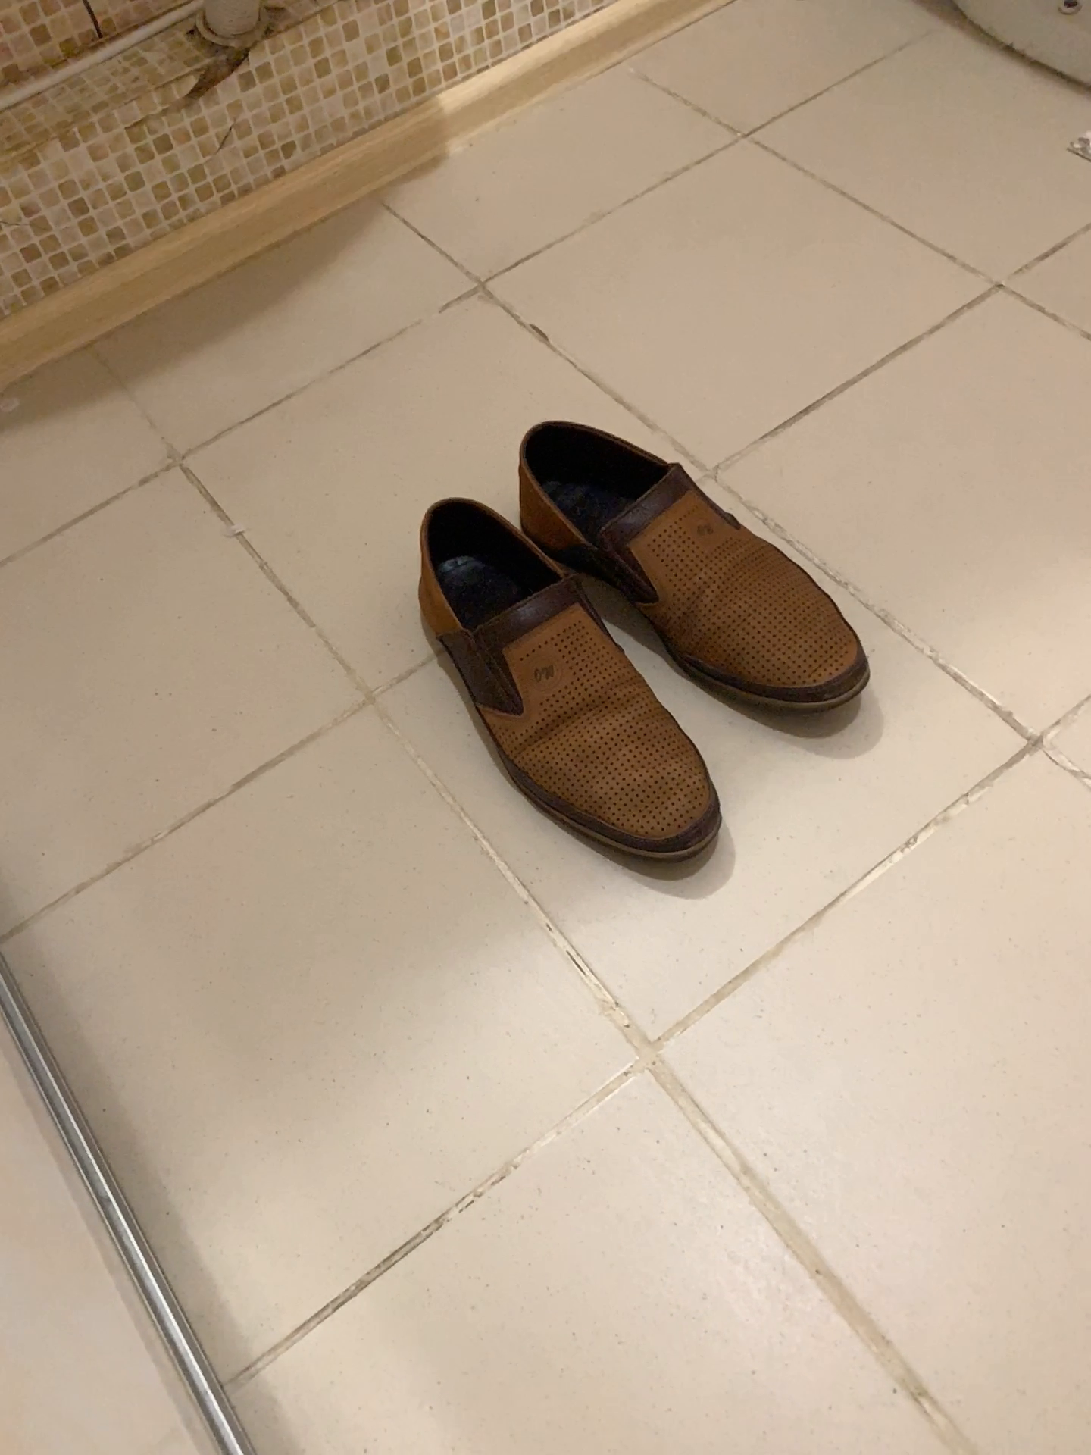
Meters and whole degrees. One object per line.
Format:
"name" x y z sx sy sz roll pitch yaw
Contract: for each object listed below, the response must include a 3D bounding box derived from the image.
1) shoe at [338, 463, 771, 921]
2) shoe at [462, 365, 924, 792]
"shoe" -0.001 -0.031 0.669 0.110 0.080 0.271 -34 60 -13
"shoe" 0.085 -0.105 0.722 0.110 0.090 0.291 -39 61 -15
